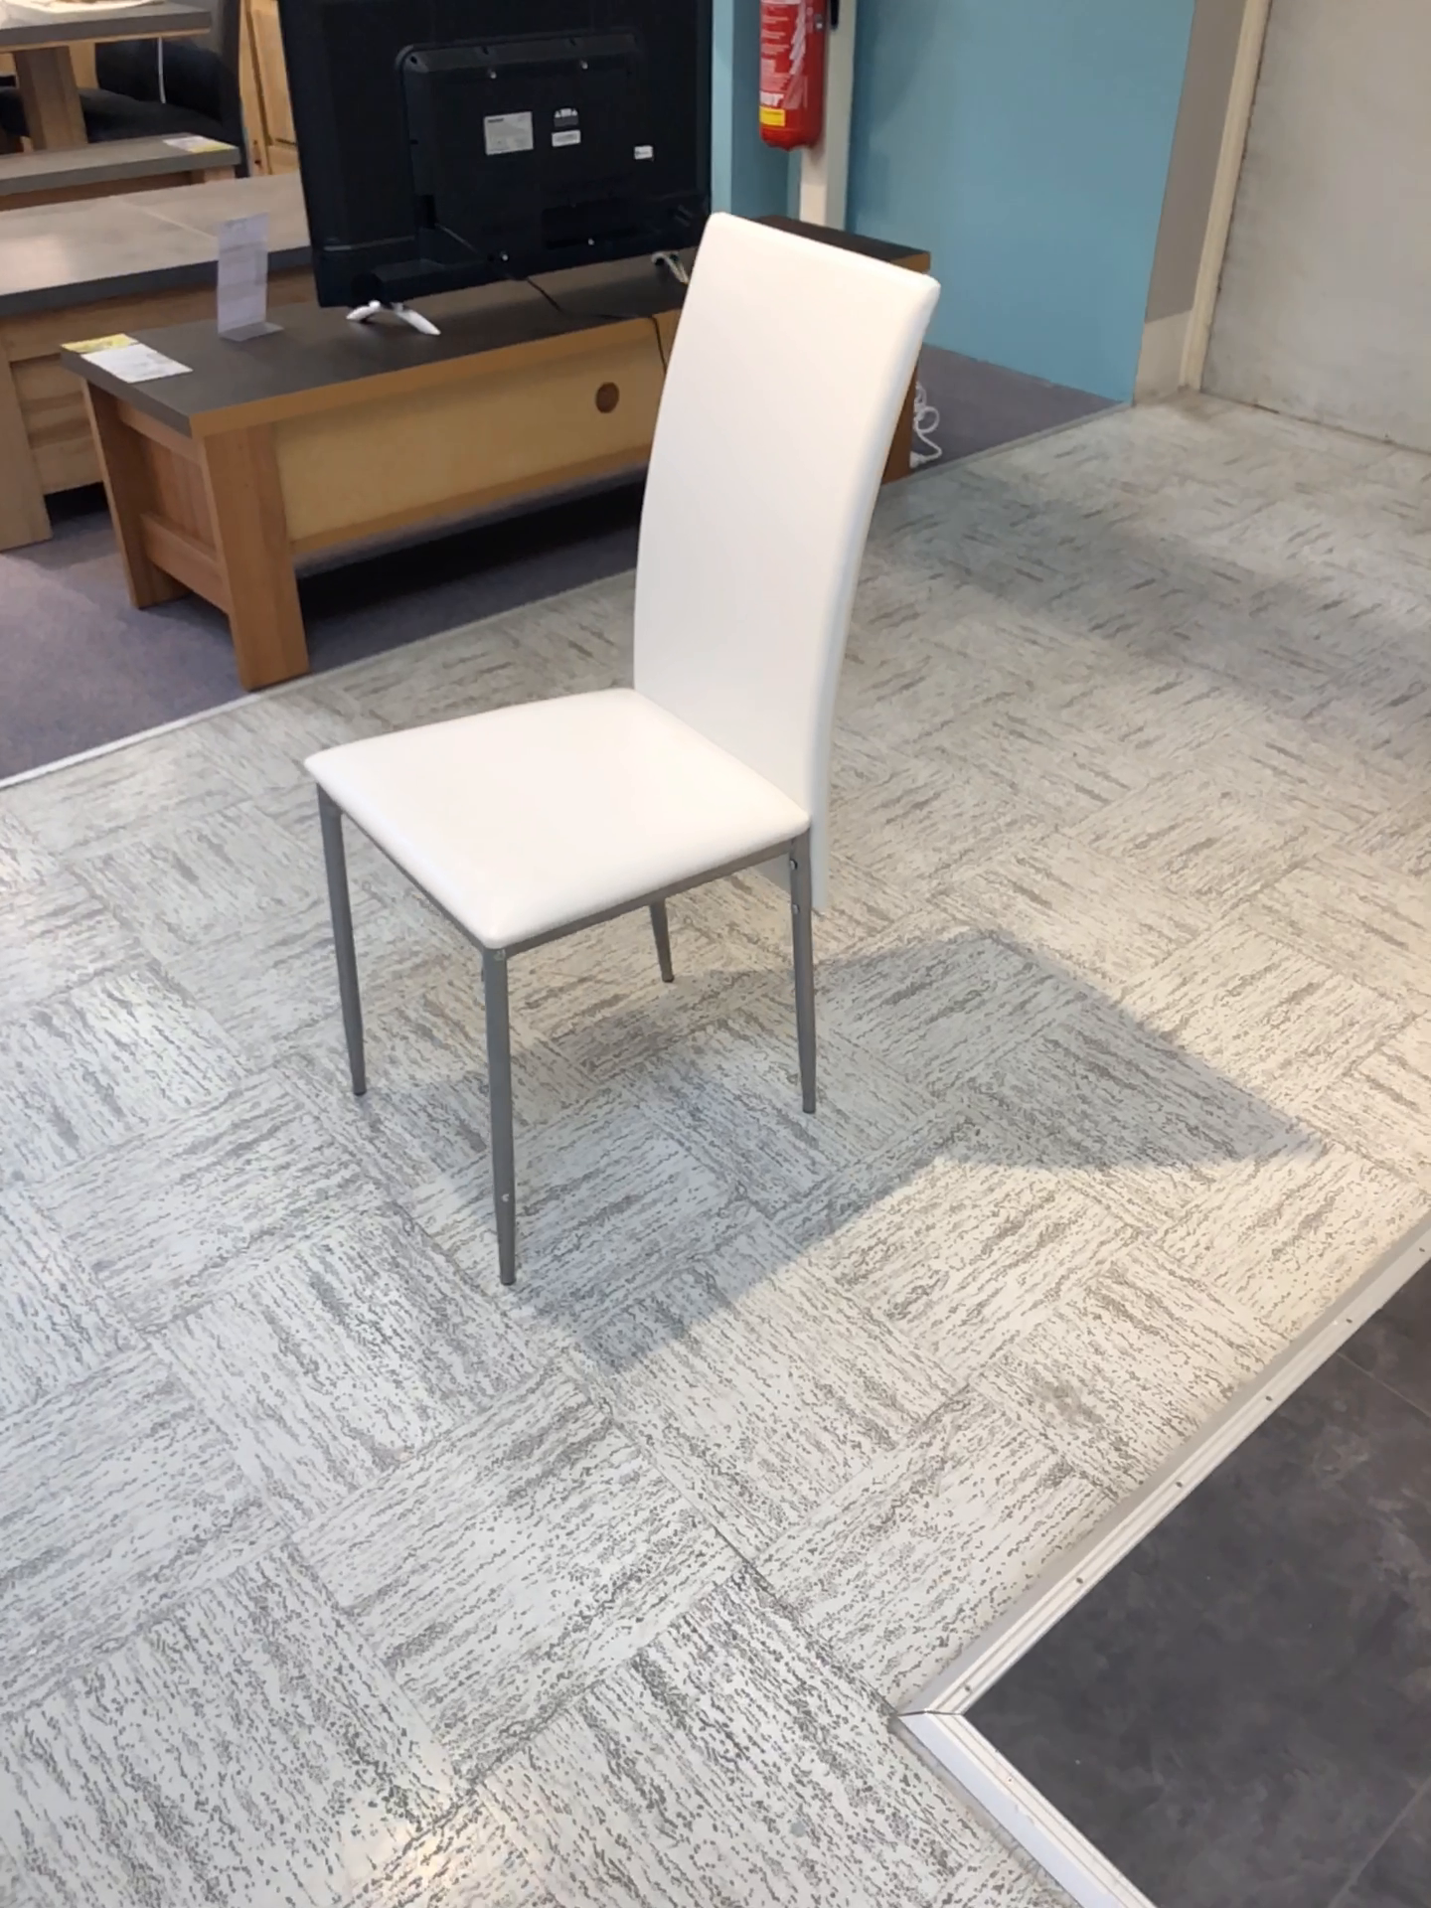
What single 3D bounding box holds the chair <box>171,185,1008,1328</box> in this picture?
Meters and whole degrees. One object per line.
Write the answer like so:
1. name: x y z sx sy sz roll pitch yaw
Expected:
1. chair: -0.120 -0.206 1.610 0.552 0.944 0.471 -21 41 -27
